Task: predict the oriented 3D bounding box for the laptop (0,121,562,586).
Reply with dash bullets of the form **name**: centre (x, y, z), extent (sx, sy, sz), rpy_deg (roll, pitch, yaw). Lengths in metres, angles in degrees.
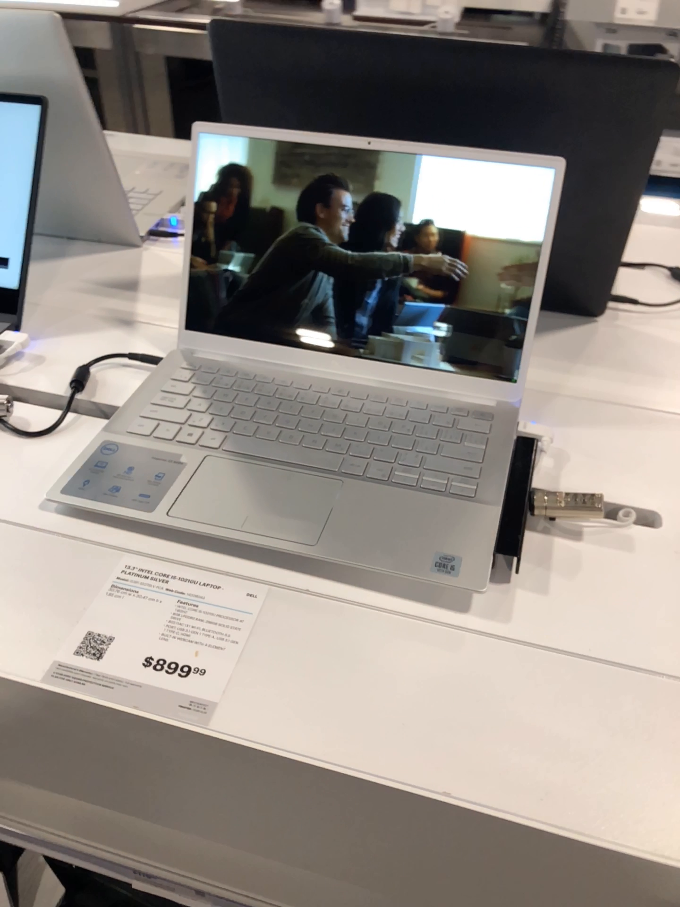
- **laptop**: centre (-0.019, -0.101, 0.544), extent (0.293, 0.165, 0.294), rpy_deg (11, 41, 14)
